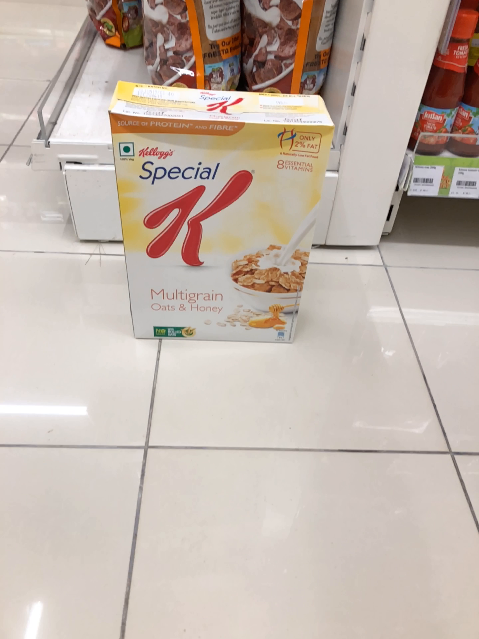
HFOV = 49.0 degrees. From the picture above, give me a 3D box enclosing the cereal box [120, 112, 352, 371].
[{"bbox_3d":[-0.008,-0.064,0.546,0.190,0.268,0.071,0,42,-3],"label":"cereal box"}]
